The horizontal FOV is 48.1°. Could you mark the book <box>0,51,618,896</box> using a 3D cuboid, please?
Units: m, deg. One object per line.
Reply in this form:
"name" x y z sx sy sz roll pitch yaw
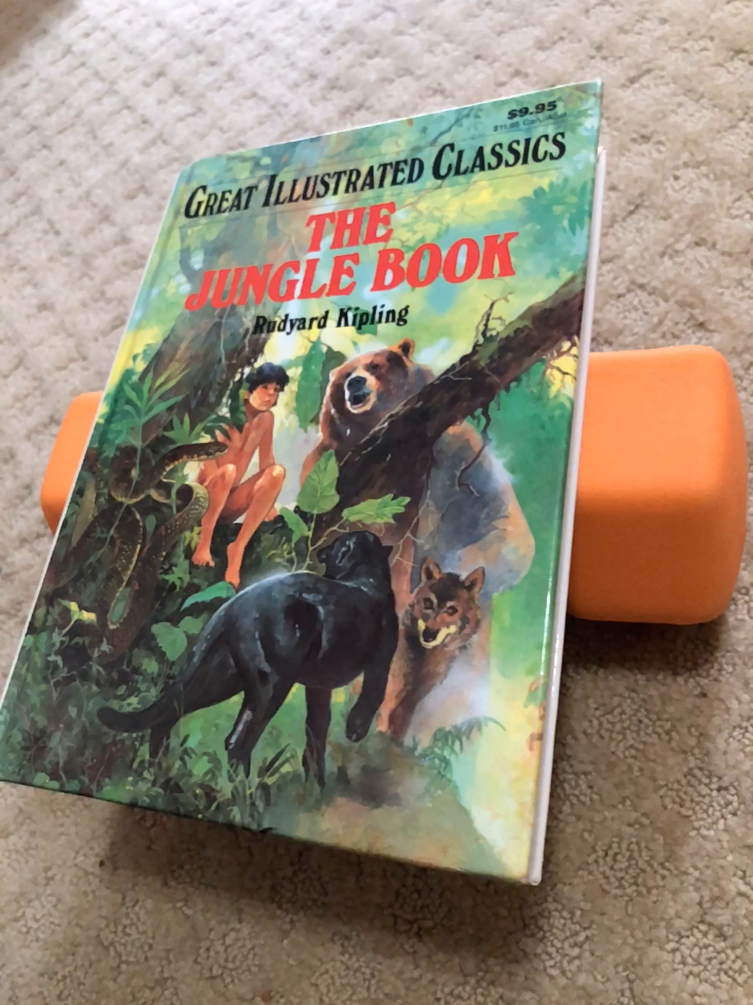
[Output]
"book" -0.015 -0.020 0.229 0.140 0.029 0.208 1 67 24
